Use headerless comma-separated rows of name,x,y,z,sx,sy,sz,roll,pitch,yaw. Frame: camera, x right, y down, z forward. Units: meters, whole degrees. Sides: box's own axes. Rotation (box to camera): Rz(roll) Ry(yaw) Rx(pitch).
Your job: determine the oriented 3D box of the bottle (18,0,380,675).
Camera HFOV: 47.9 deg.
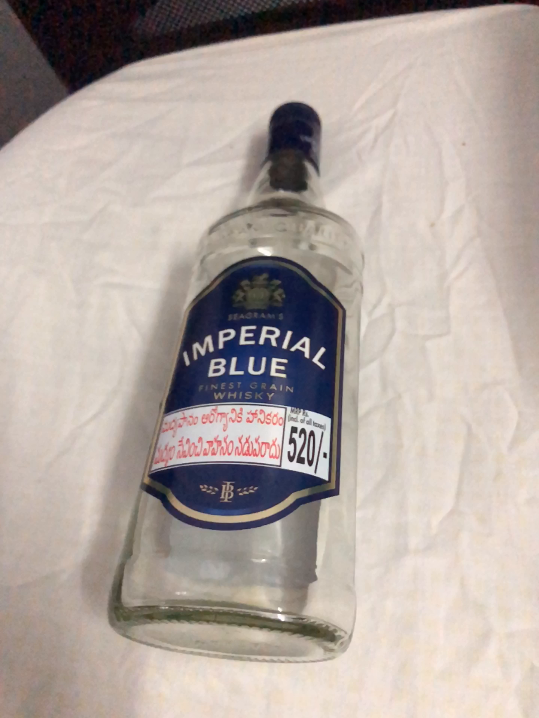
bottle,-0.003,-0.028,0.245,0.090,0.080,0.271,-1,62,11
